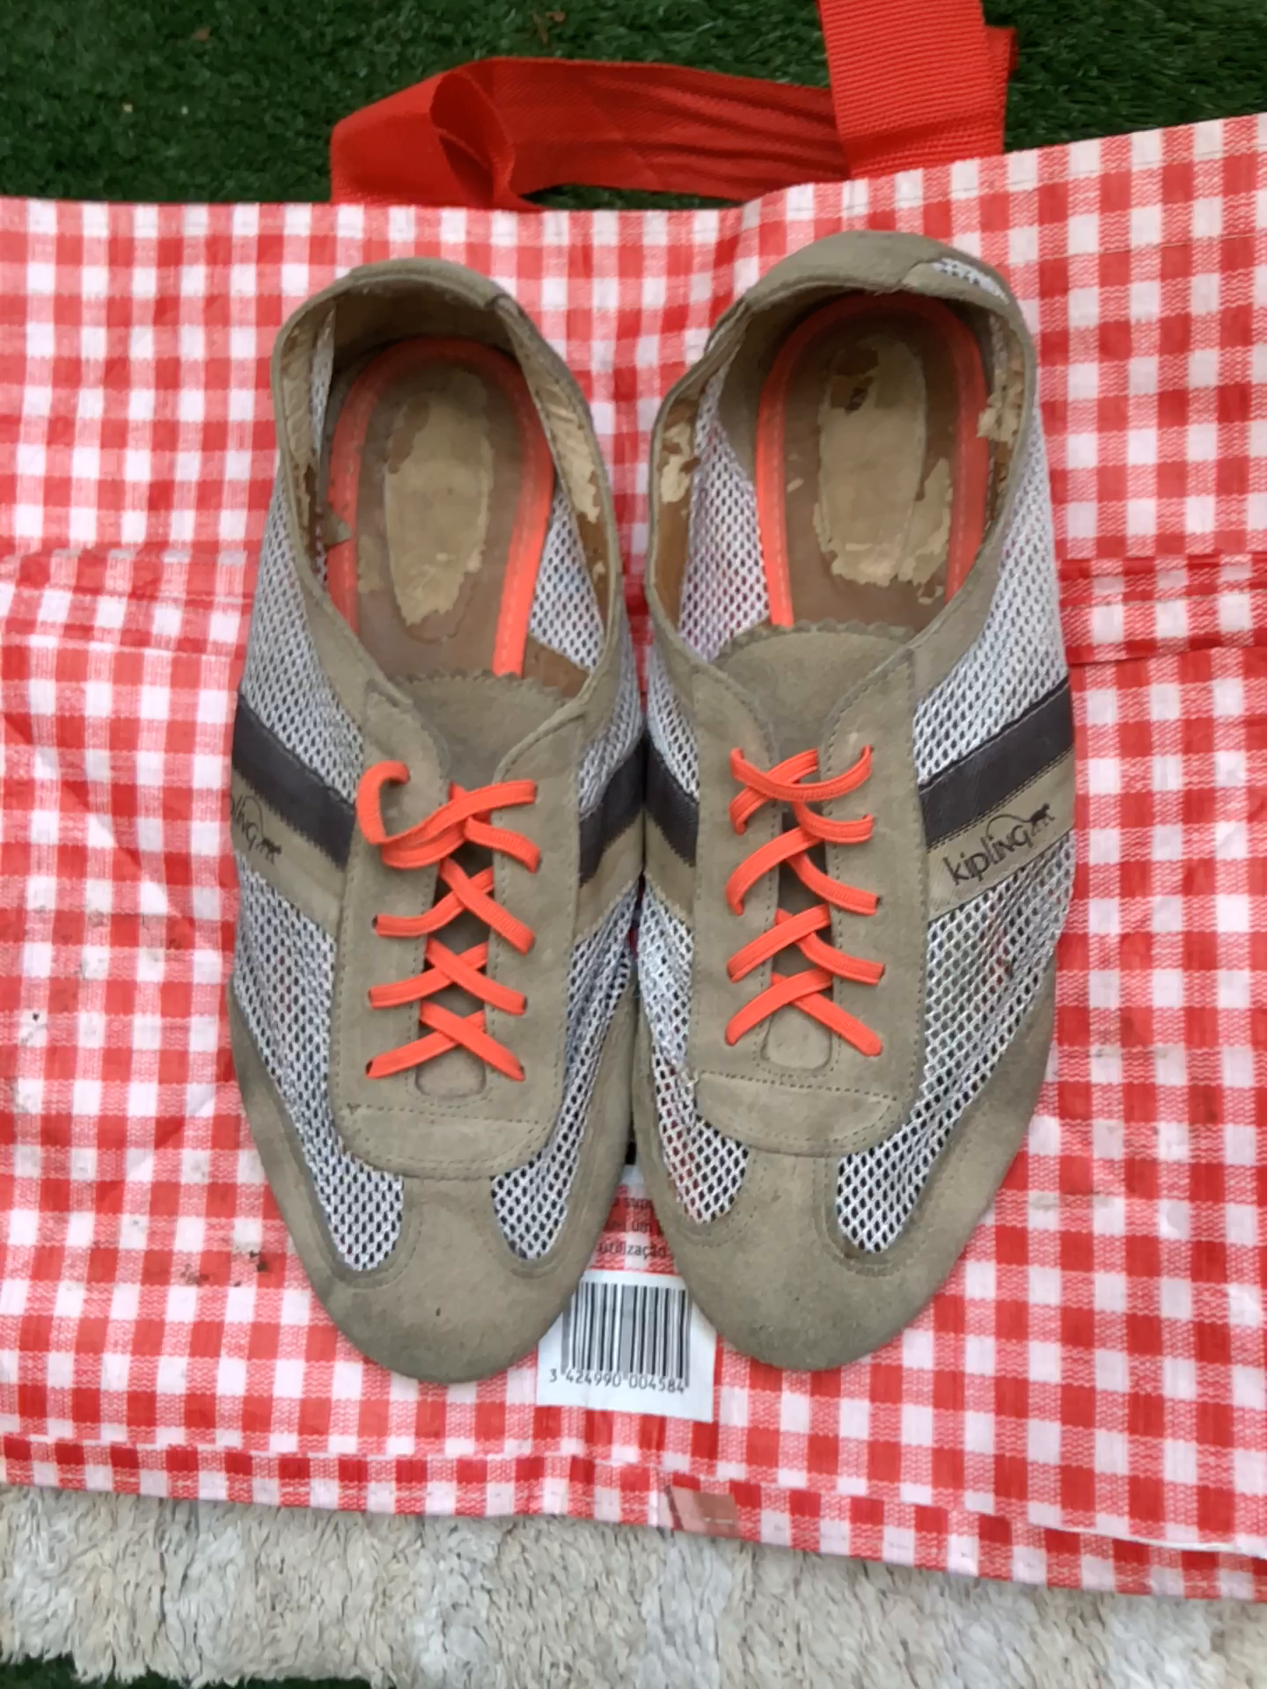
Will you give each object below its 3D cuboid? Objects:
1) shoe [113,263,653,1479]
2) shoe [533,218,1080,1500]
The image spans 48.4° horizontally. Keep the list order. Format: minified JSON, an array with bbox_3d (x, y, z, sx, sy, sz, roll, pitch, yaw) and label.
[{"bbox_3d":[-0.052,0.005,0.309,0.100,0.050,0.240,-2,93,-8],"label":"shoe"},{"bbox_3d":[0.038,0.004,0.295,0.100,0.050,0.230,1,95,25],"label":"shoe"}]
